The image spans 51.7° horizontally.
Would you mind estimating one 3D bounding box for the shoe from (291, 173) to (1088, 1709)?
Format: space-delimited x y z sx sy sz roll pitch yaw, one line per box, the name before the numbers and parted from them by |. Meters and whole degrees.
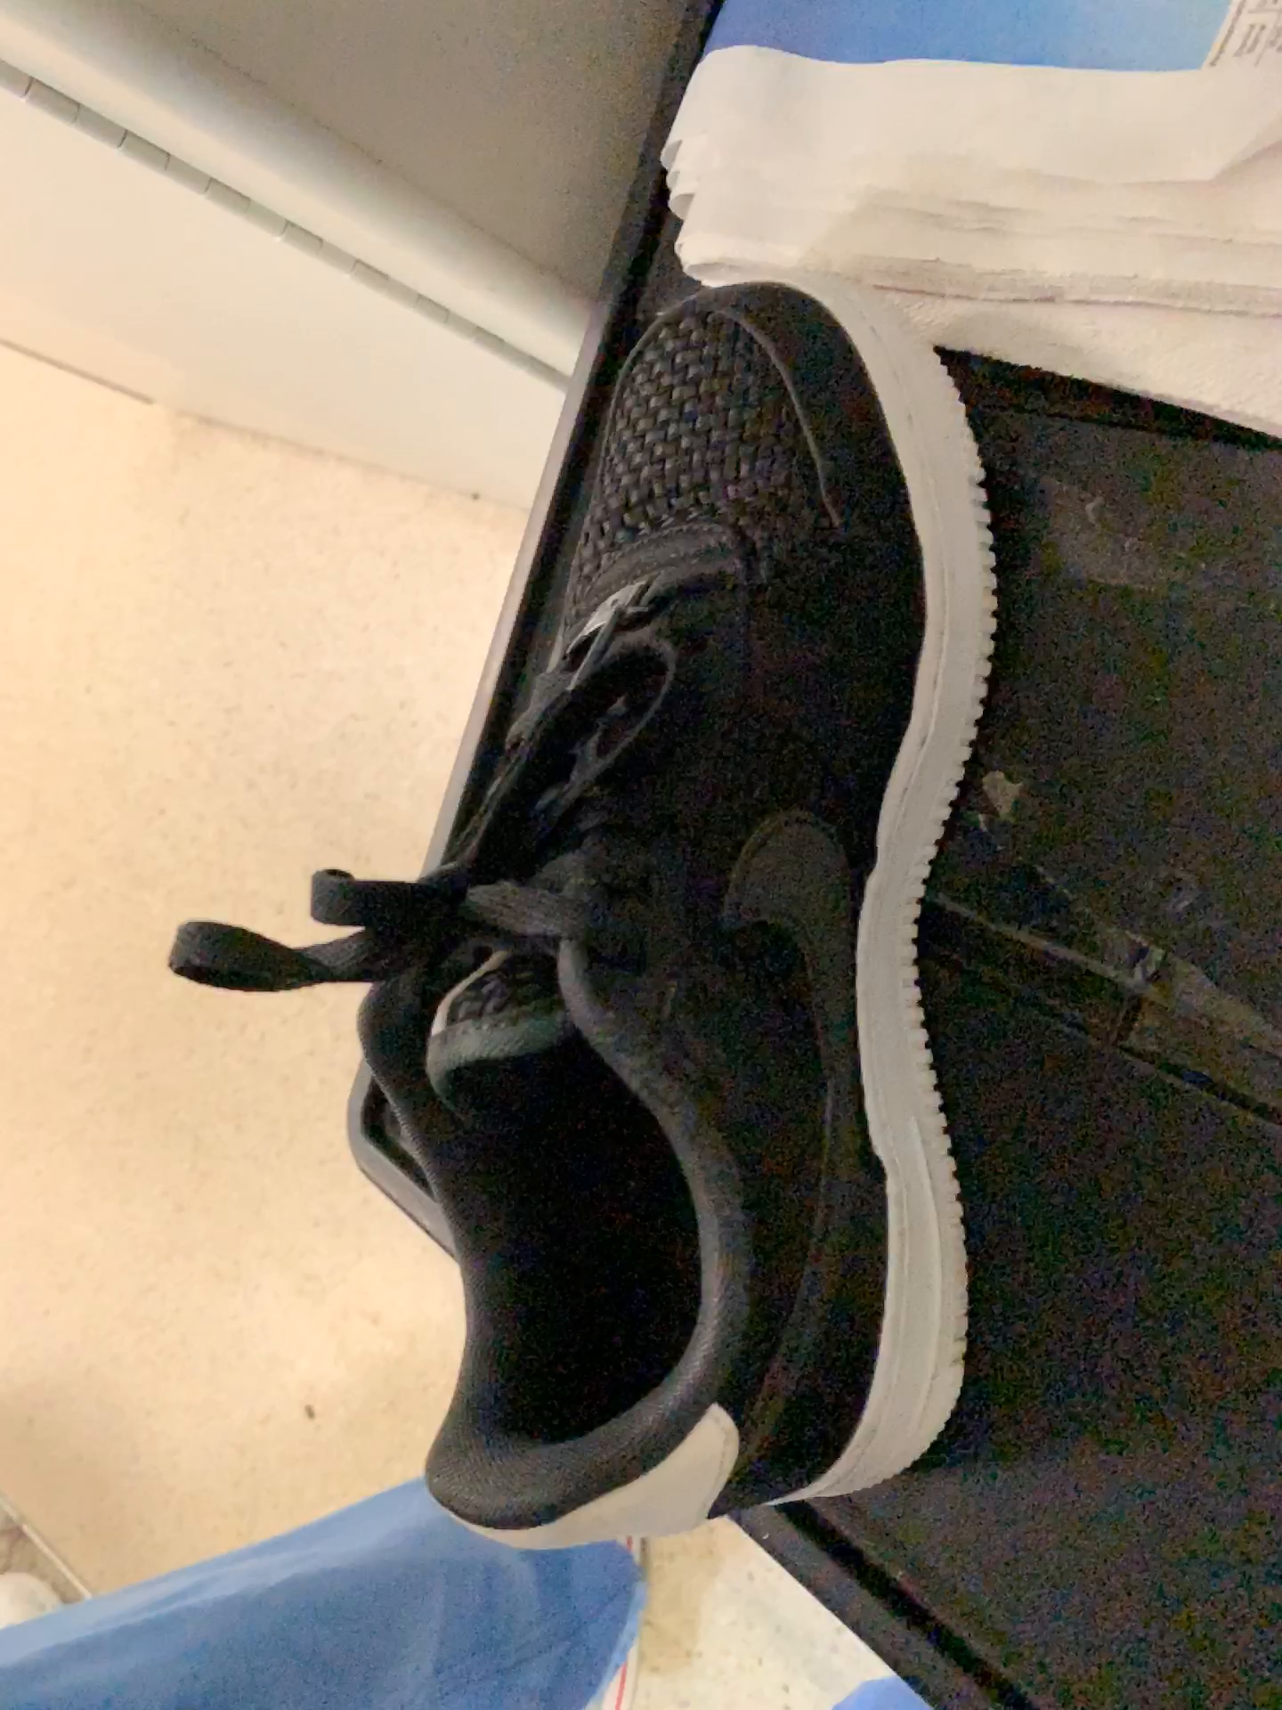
shoe | 0.012 0.026 0.230 0.090 0.094 0.225 -6 79 40
